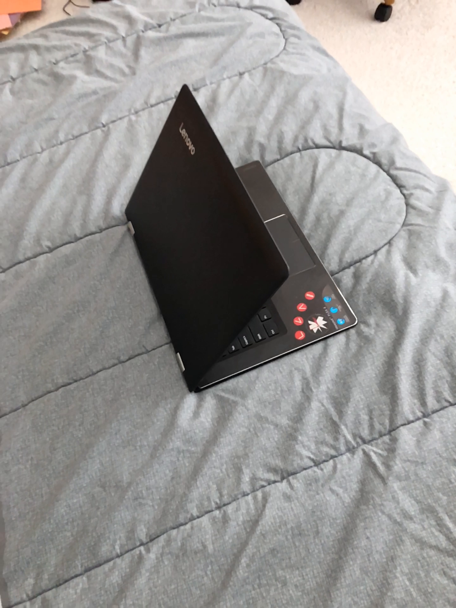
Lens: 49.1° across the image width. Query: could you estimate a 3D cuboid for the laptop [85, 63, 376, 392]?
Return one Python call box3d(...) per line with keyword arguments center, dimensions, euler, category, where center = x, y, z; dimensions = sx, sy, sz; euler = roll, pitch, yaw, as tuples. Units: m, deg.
box3d(center=(-0.009, -0.097, 0.602), dimensions=(0.214, 0.168, 0.305), euler=(-23, 59, -4), category="laptop")
